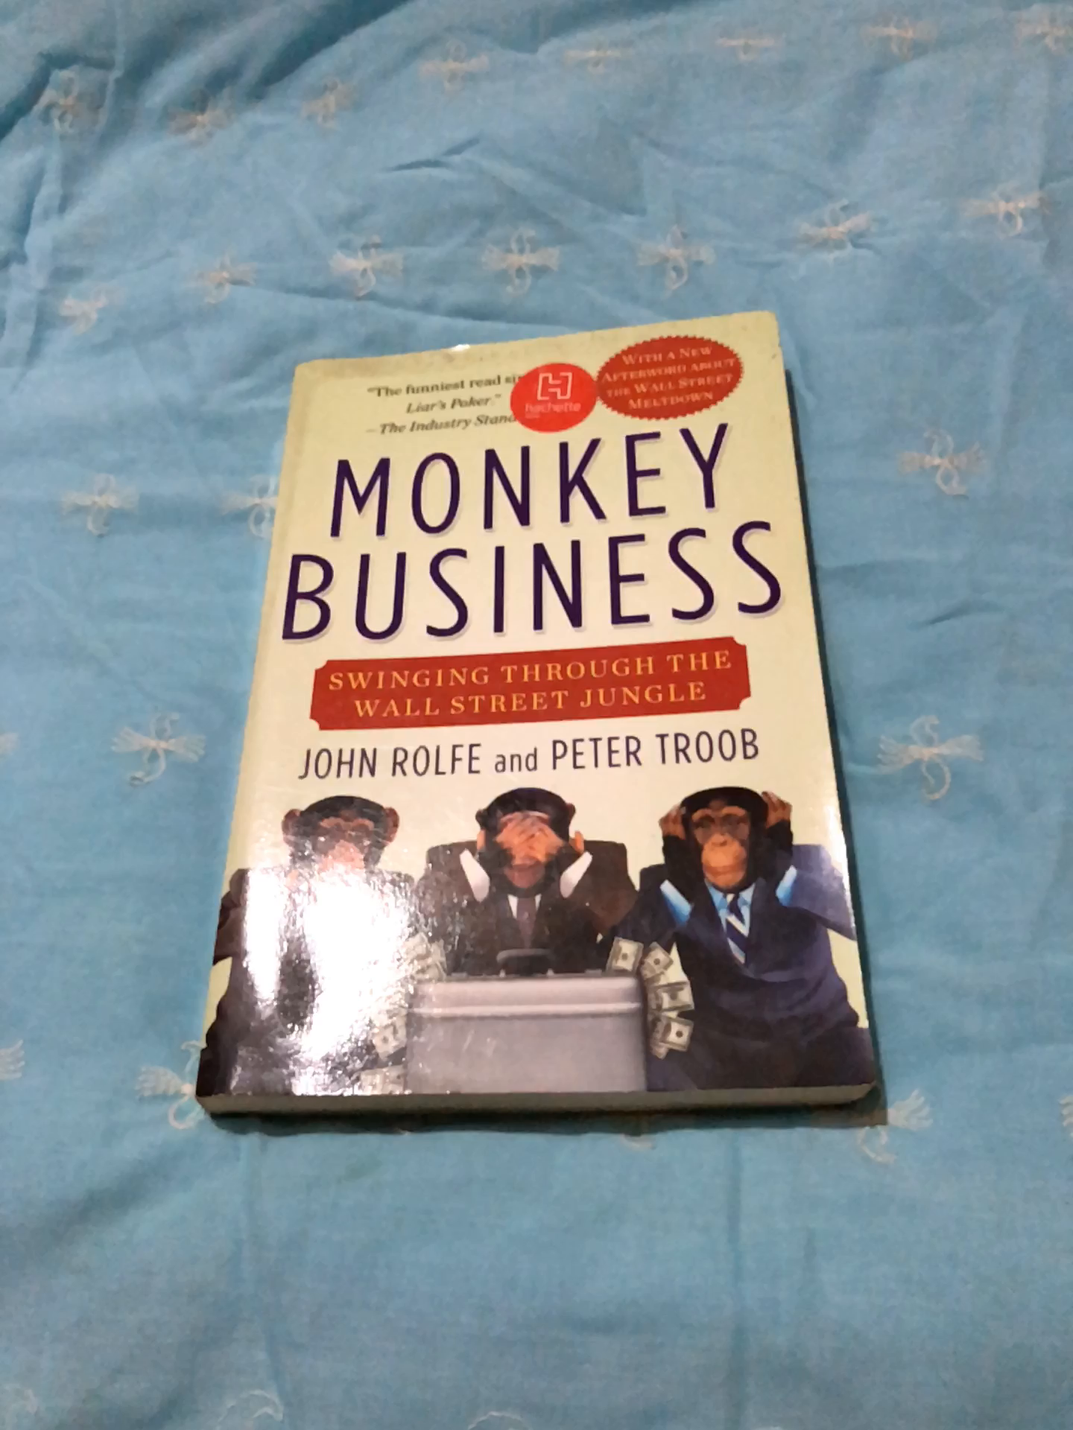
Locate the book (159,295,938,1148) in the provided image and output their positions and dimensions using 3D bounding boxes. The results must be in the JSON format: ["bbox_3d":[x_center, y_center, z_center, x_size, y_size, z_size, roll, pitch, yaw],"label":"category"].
[{"bbox_3d":[0.006,-0.010,0.335,0.170,0.040,0.241,-1,61,7],"label":"book"}]
